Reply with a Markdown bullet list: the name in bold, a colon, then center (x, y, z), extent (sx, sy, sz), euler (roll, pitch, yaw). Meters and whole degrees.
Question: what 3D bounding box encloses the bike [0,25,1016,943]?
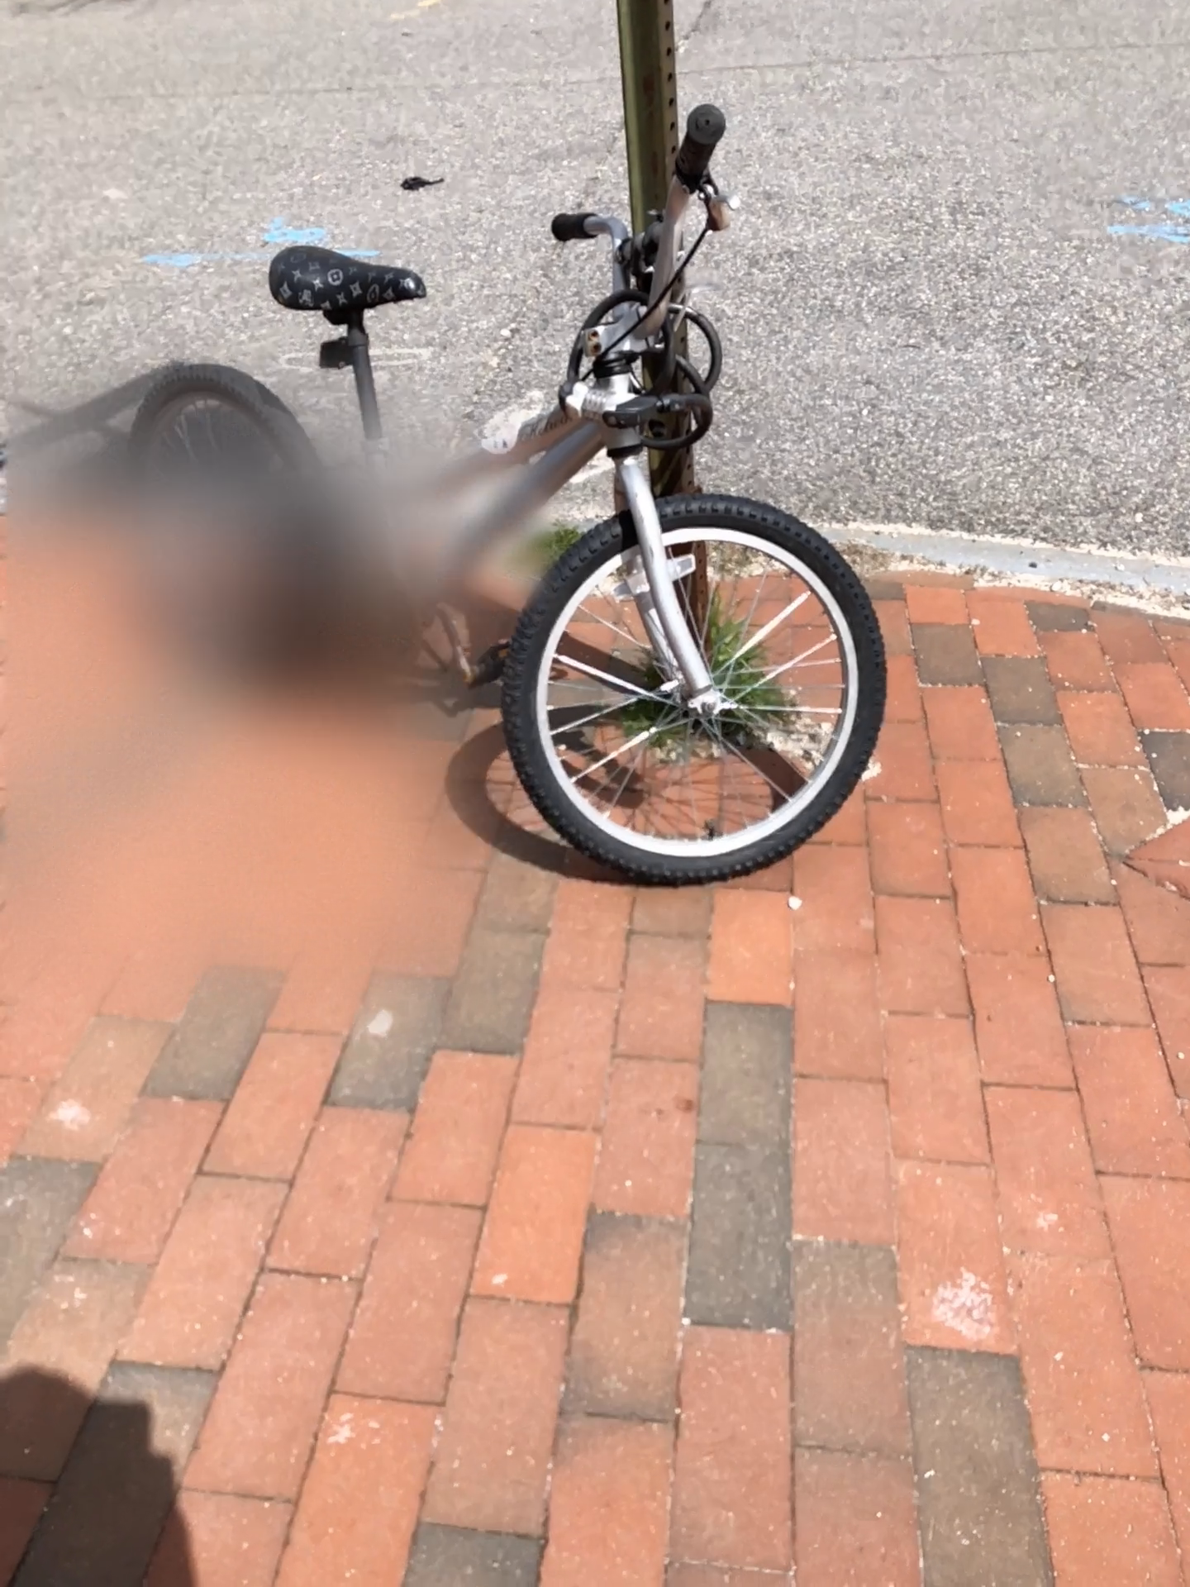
- **bike**: center (-0.217, -0.501, 1.741), extent (1.209, 0.831, 0.719), euler (16, 39, 24)
